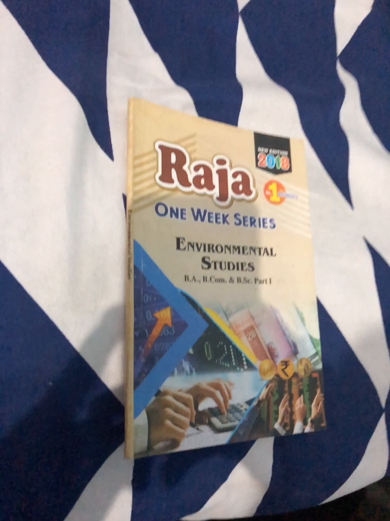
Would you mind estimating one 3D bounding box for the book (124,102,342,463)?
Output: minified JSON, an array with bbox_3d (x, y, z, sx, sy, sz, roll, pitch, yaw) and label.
[{"bbox_3d":[0.026,0.010,0.273,0.140,0.010,0.200,4,78,-25],"label":"book"}]
